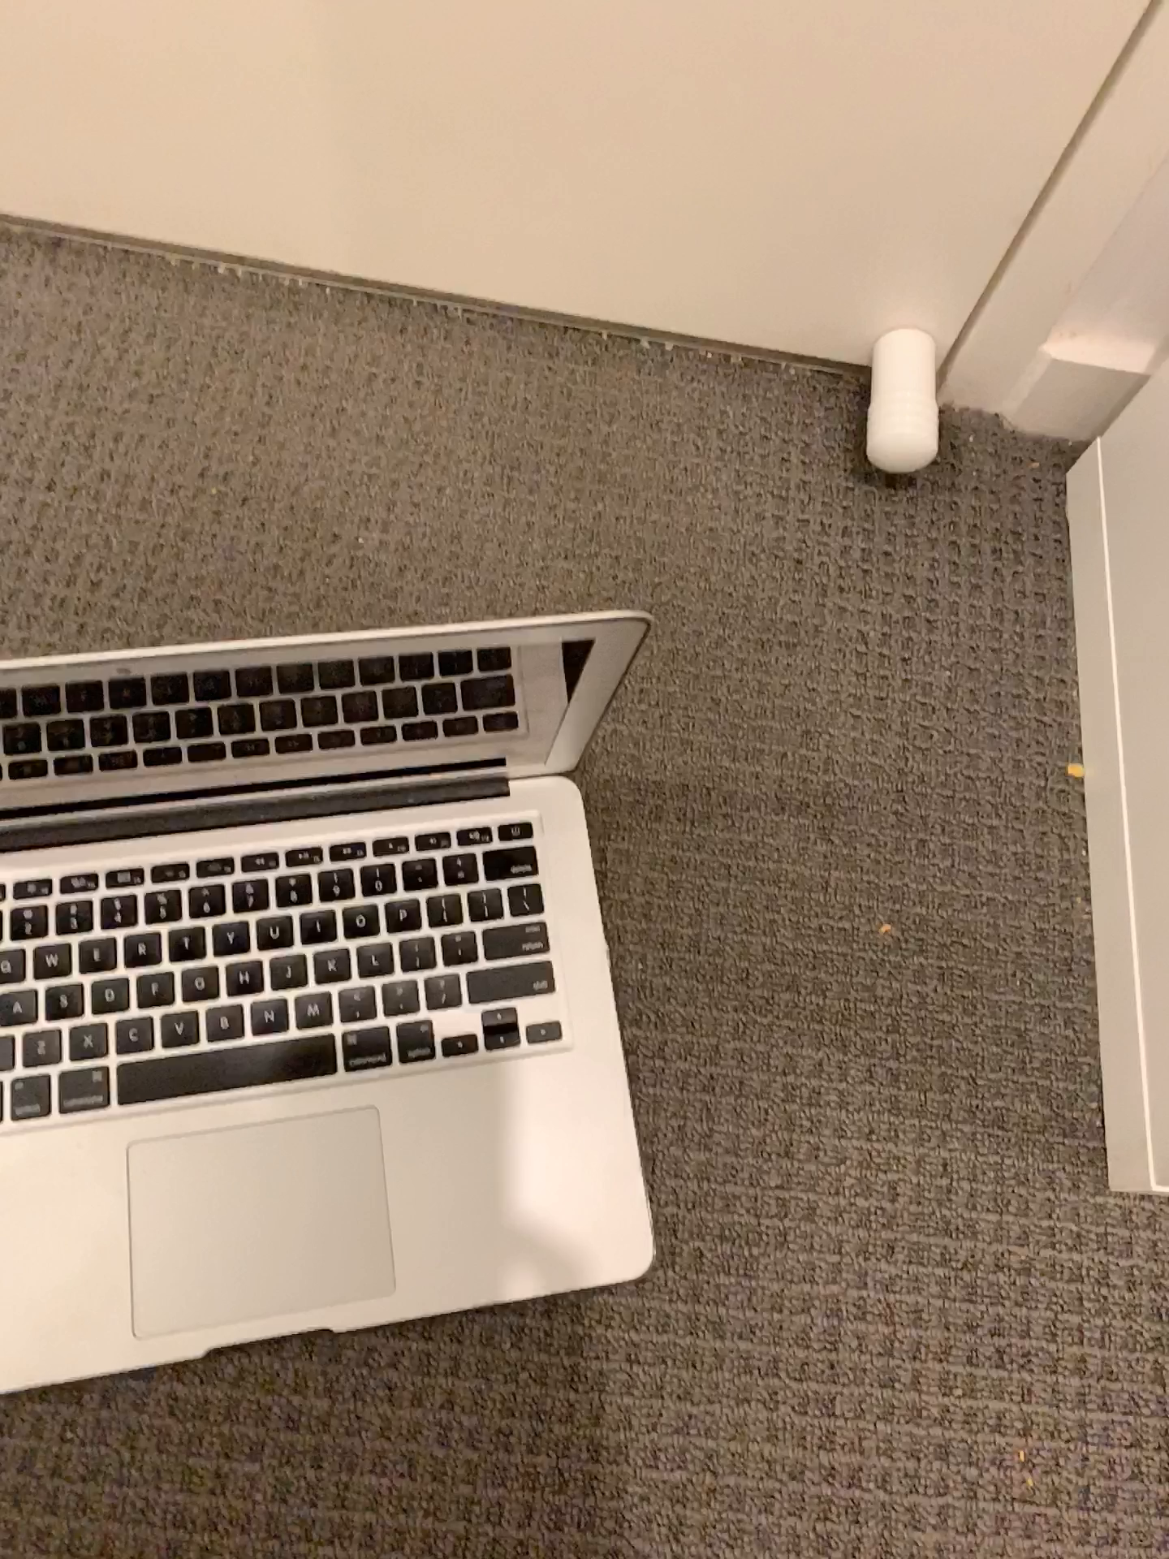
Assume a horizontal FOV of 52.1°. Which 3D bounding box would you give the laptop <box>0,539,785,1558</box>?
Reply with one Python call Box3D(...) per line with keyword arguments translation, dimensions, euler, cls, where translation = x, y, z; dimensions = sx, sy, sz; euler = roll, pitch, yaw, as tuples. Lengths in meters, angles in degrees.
Box3D(translation=(-0.135, 0.084, 0.421), dimensions=(0.322, 0.215, 0.226), euler=(-7, 71, -9), cls="laptop")
